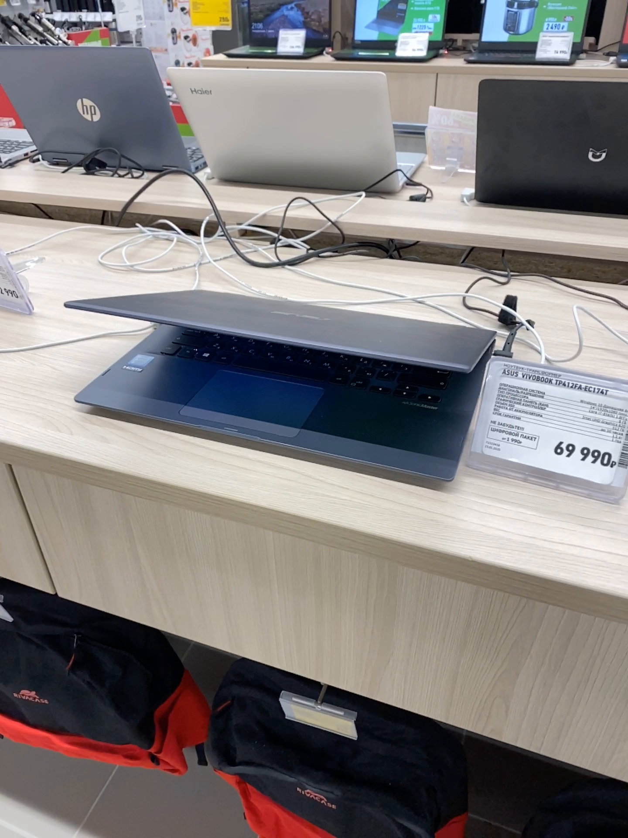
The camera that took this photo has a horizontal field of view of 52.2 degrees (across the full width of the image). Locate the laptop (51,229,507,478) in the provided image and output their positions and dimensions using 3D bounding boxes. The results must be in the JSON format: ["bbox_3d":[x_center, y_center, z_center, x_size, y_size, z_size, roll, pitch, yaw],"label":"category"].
[{"bbox_3d":[-0.016,-0.080,0.573,0.330,0.079,0.226,11,36,17],"label":"laptop"}]
